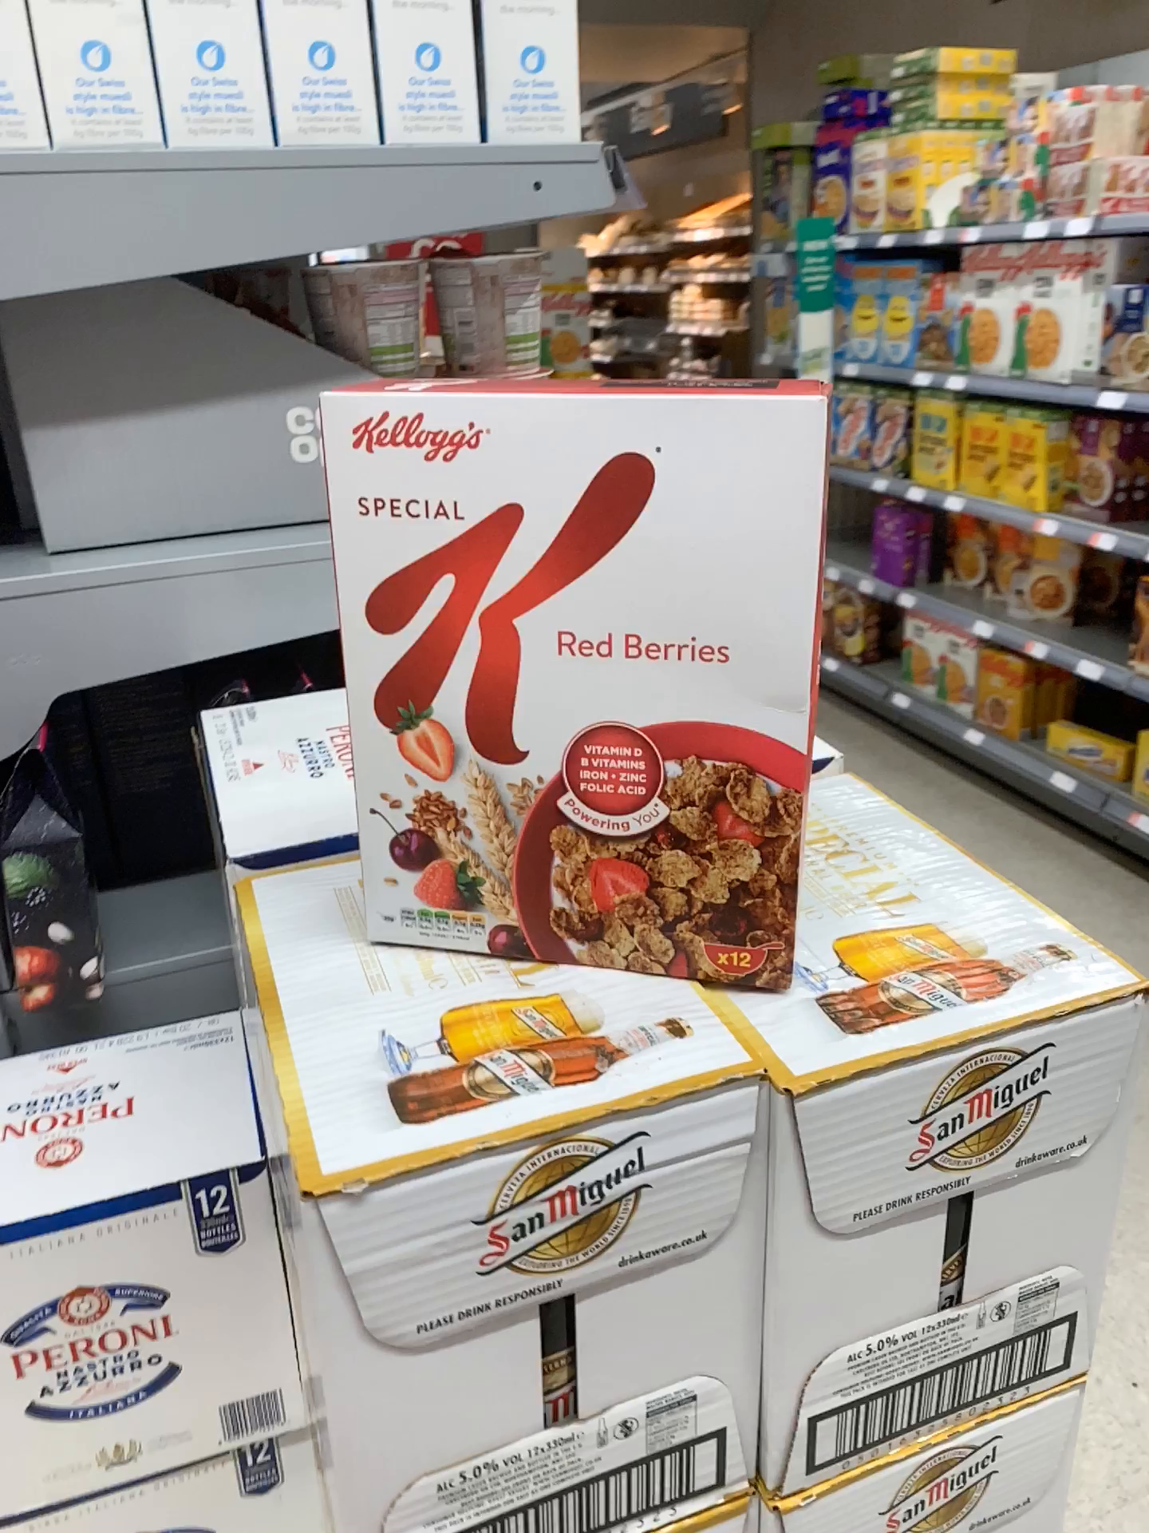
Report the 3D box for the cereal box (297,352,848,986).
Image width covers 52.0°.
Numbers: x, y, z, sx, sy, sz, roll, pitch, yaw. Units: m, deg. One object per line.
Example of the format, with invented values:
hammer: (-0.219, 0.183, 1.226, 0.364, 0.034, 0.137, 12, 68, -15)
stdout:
cereal box: (0.004, -0.043, 0.492, 0.200, 0.238, 0.070, 4, 21, 15)
